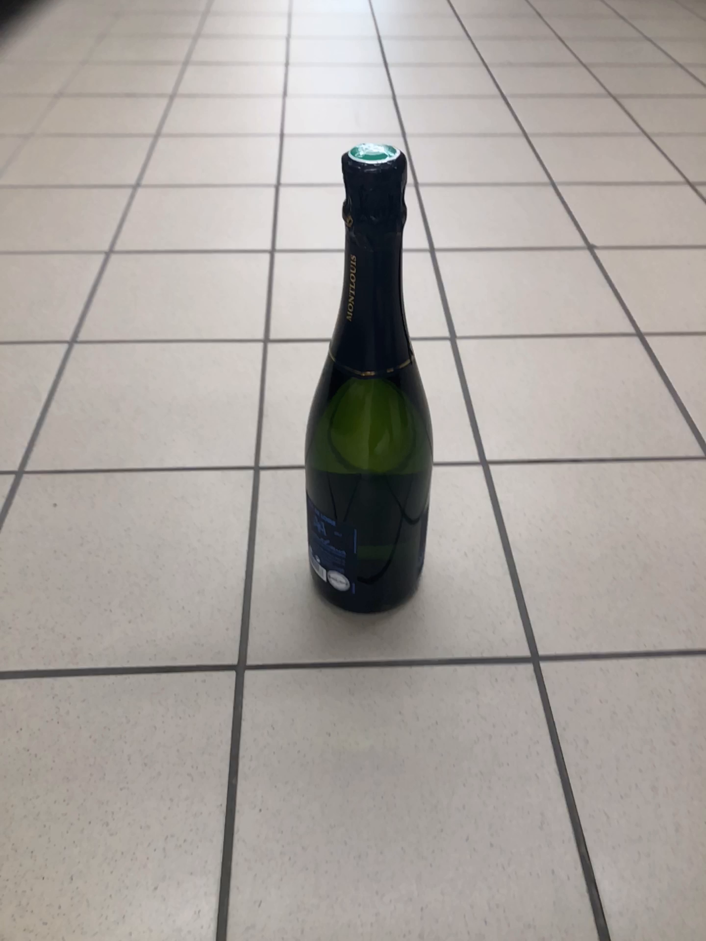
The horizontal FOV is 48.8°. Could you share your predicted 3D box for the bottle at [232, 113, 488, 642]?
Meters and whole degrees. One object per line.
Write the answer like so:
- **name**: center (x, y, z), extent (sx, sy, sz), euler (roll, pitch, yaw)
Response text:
- **bottle**: center (0.003, -0.040, 0.484), extent (0.090, 0.308, 0.091), euler (1, 41, 0)
